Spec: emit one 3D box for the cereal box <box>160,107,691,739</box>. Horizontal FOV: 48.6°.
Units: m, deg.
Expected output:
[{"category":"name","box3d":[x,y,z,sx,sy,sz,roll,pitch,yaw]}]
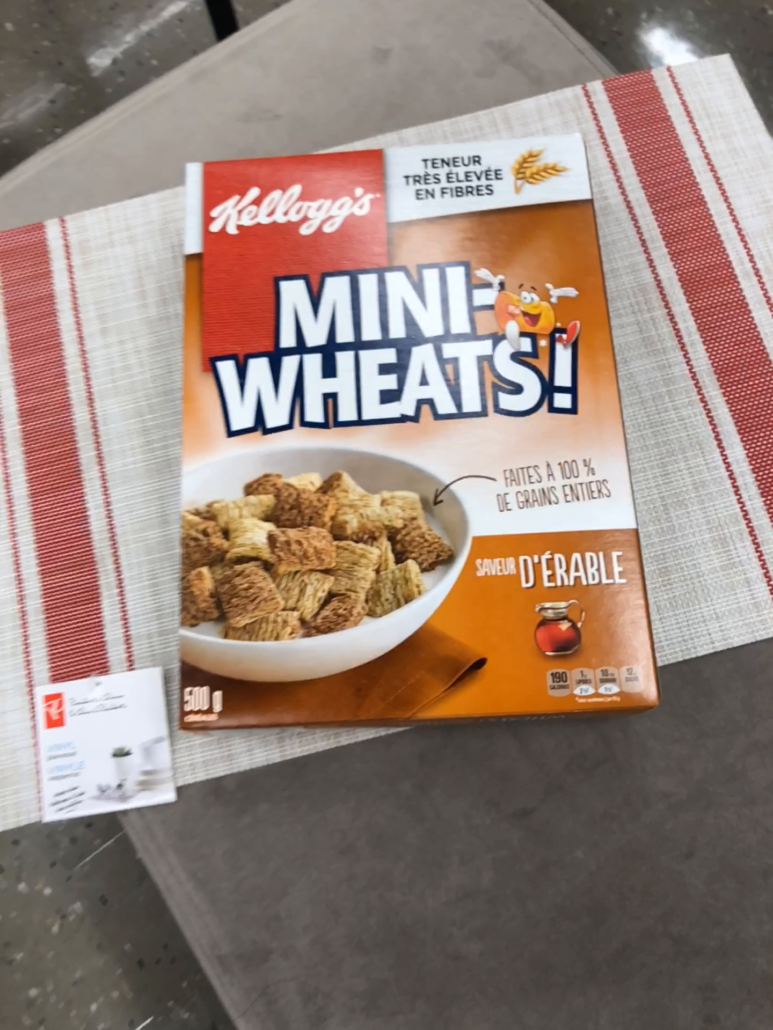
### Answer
[{"category":"cereal box","box3d":[0.009,-0.044,0.403,0.210,0.060,0.280,-3,75,3]}]
